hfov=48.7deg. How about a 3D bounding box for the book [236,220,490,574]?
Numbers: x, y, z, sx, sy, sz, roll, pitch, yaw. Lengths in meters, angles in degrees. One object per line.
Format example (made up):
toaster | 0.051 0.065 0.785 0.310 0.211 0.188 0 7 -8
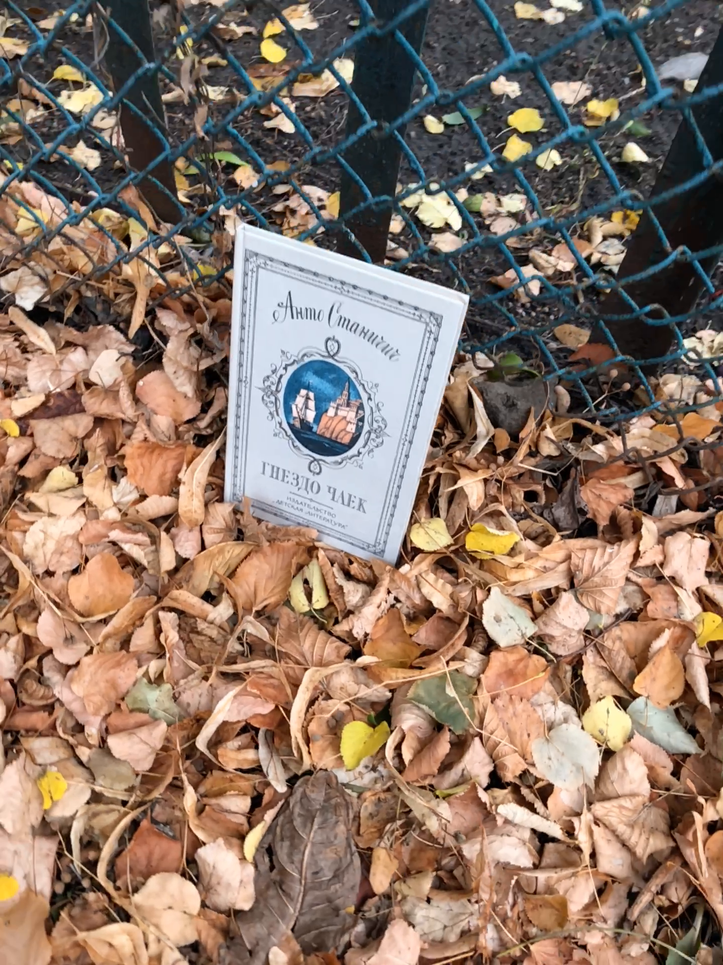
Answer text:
book | -0.011 -0.039 0.471 0.128 0.199 0.016 21 44 11
